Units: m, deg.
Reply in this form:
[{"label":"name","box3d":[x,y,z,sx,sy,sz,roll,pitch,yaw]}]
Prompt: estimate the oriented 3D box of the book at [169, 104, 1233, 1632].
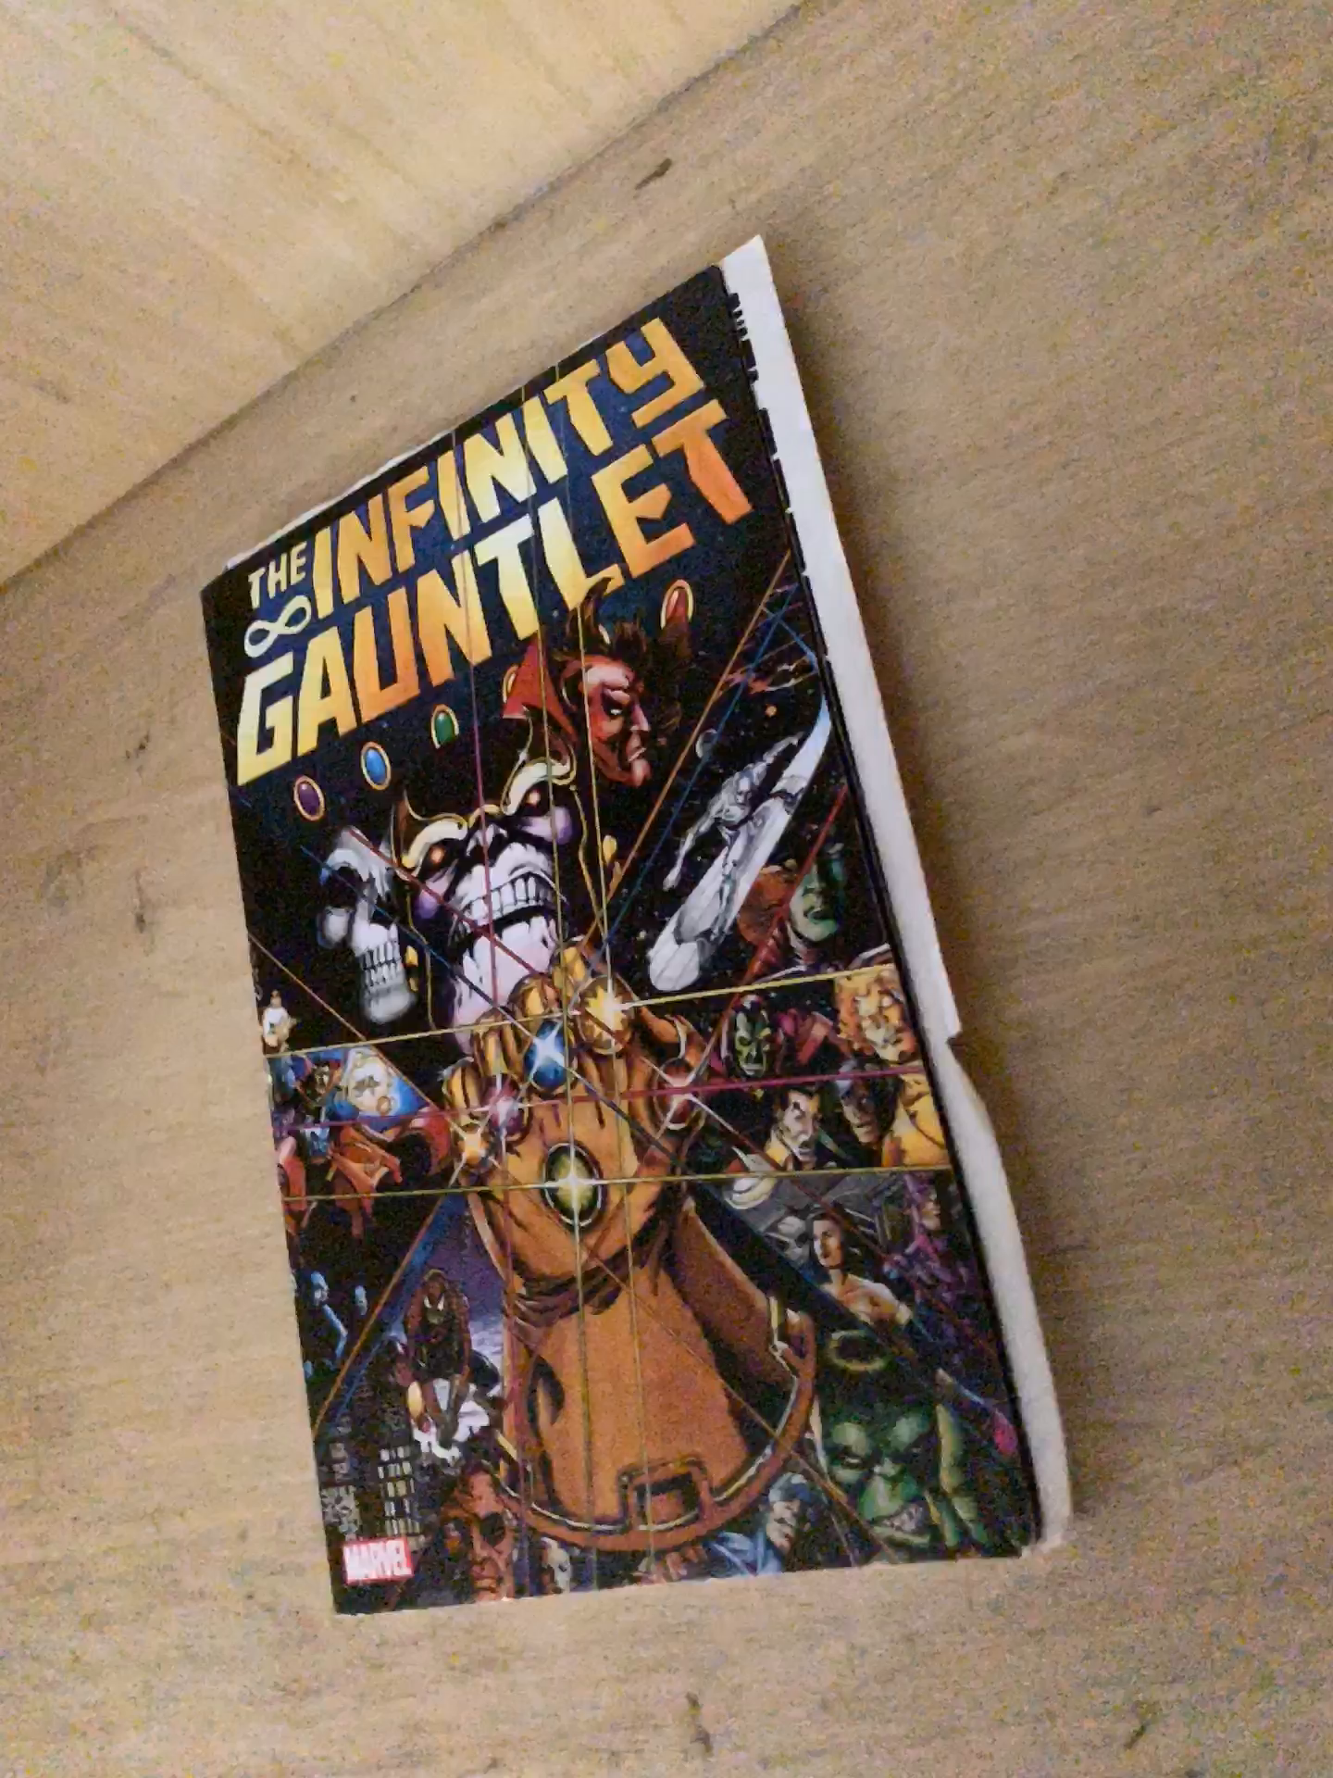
[{"label":"book","box3d":[-0.021,0.002,0.295,0.191,0.030,0.271,-22,71,29]}]
